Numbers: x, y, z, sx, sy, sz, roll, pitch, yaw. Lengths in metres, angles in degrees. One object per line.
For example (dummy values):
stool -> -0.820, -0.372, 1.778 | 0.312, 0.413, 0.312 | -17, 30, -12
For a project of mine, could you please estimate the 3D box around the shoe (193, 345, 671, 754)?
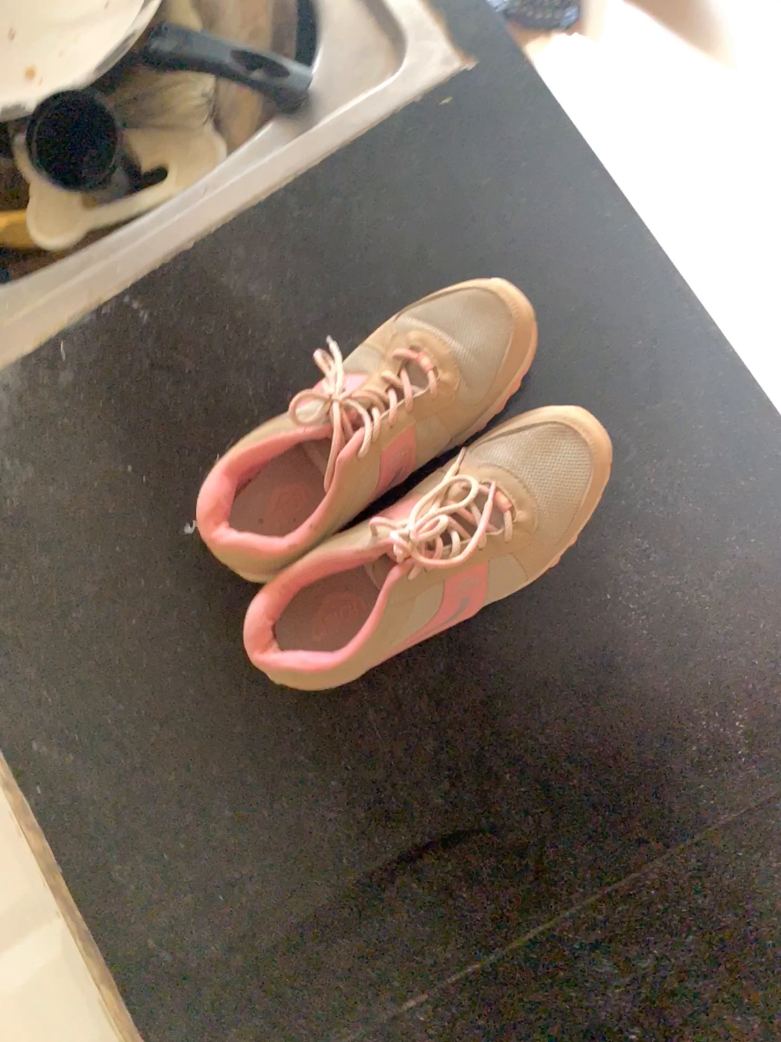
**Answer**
shoe -> 0.024, 0.020, 0.475 | 0.240, 0.100, 0.100 | -34, 81, 3

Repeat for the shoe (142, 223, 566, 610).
shoe -> -0.017, -0.054, 0.490 | 0.230, 0.100, 0.090 | -39, 81, 2
